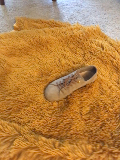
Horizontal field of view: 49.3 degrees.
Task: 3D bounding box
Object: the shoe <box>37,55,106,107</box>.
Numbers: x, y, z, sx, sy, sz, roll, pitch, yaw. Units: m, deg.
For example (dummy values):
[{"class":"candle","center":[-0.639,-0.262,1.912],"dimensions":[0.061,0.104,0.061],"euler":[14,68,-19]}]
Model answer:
[{"class":"shoe","center":[0.048,-0.002,0.535],"dimensions":[0.259,0.070,0.100],"euler":[-24,60,-20]}]
